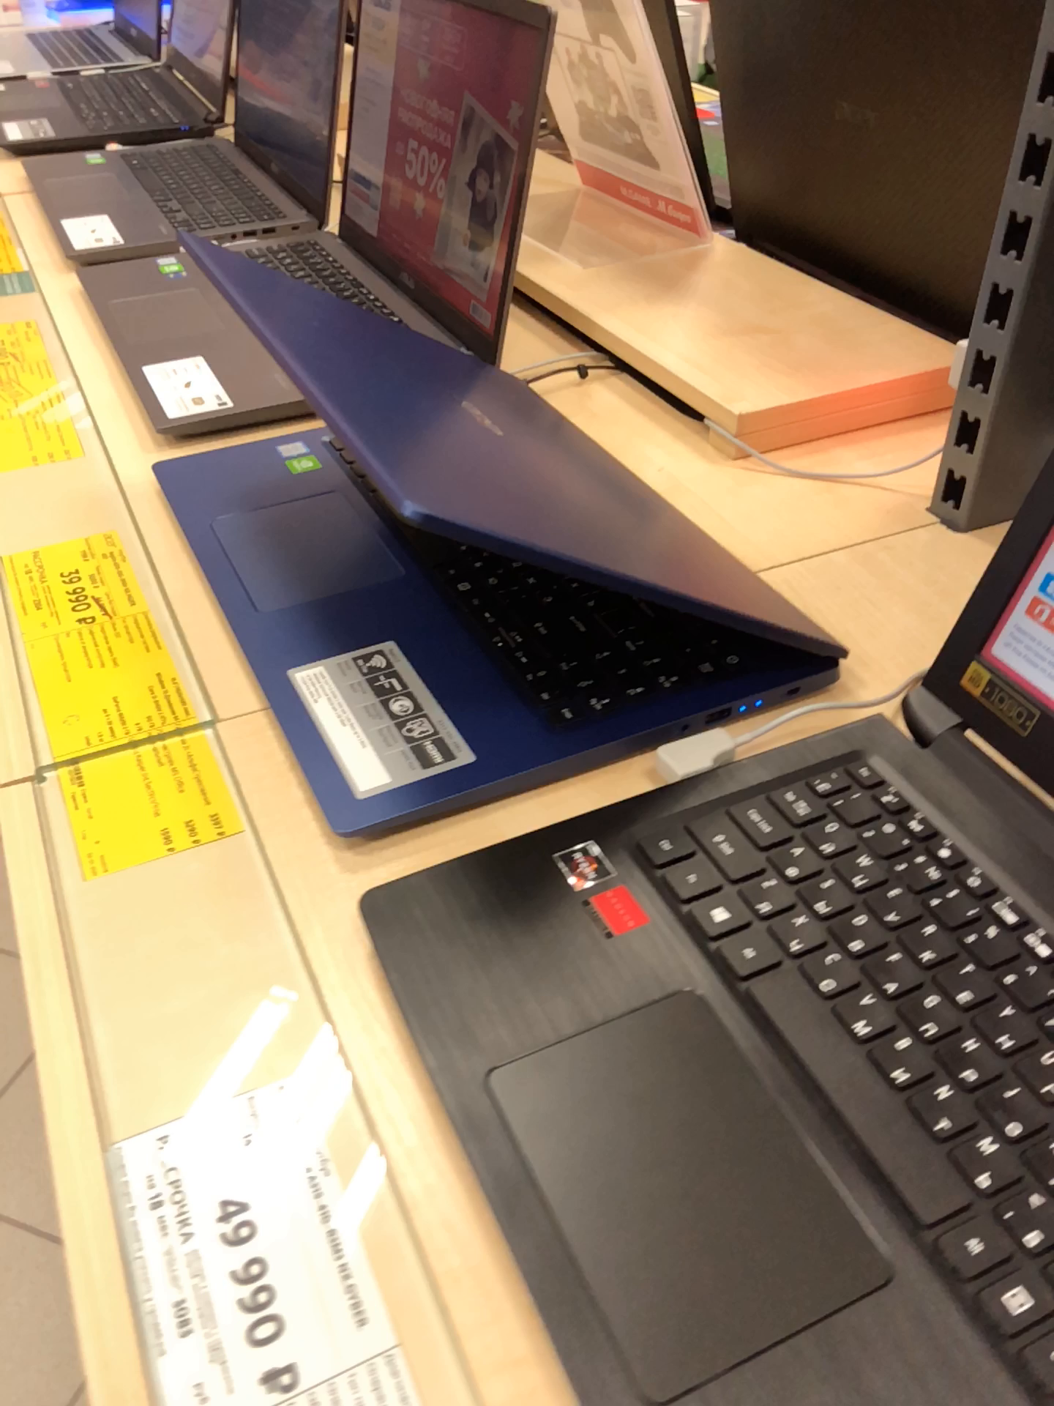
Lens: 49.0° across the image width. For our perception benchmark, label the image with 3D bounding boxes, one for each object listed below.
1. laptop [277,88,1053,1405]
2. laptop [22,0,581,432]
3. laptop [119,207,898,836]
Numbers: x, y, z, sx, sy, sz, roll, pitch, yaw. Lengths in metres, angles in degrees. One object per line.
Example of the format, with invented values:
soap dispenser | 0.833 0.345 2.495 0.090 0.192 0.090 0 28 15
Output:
laptop | 0.171 0.026 0.270 0.353 0.226 0.359 -15 38 -16
laptop | -0.186 -0.419 0.894 0.302 0.206 0.392 -18 41 -17
laptop | -0.042 -0.130 0.589 0.245 0.126 0.369 -16 39 -18
